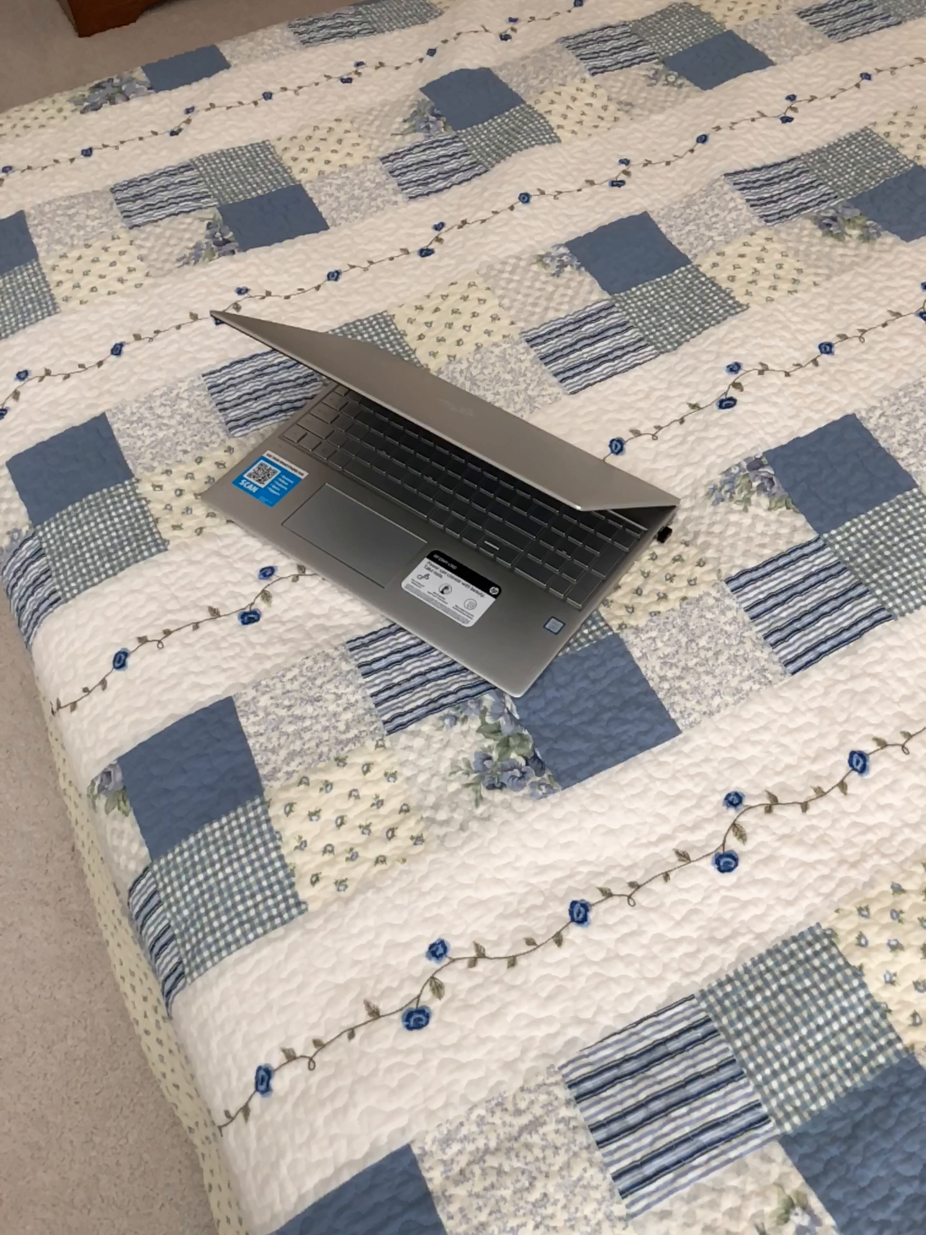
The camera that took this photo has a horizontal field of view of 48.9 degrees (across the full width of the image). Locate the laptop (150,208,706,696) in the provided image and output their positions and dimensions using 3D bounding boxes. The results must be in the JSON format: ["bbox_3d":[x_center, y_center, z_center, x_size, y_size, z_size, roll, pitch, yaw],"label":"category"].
[{"bbox_3d":[-0.026,-0.148,0.836,0.348,0.158,0.242,31,62,21],"label":"laptop"}]
